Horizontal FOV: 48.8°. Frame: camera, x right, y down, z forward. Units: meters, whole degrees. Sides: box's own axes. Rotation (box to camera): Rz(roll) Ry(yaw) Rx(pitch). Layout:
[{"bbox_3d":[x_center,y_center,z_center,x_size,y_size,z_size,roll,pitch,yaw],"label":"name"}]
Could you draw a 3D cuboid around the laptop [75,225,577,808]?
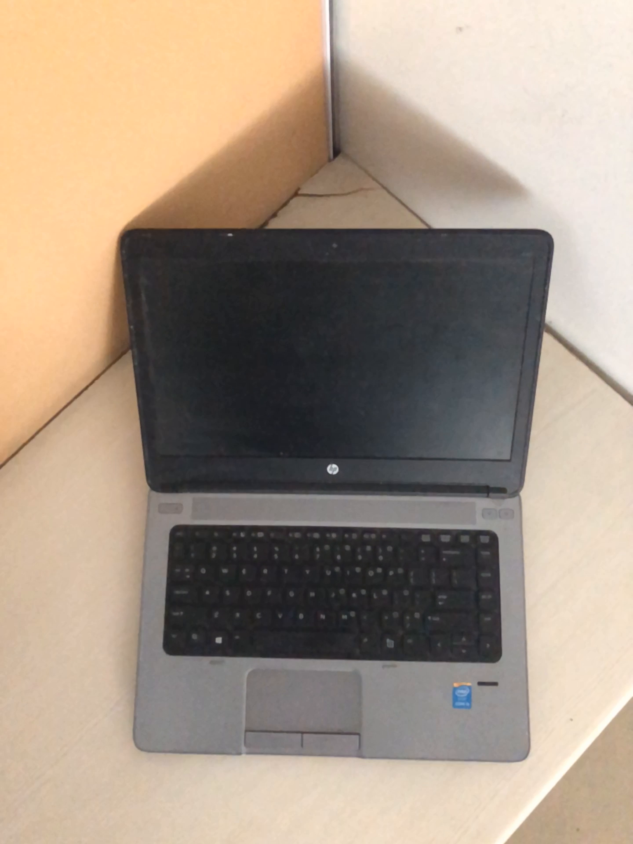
[{"bbox_3d":[0.013,0.062,0.538,0.316,0.126,0.391,1,78,2],"label":"laptop"}]
